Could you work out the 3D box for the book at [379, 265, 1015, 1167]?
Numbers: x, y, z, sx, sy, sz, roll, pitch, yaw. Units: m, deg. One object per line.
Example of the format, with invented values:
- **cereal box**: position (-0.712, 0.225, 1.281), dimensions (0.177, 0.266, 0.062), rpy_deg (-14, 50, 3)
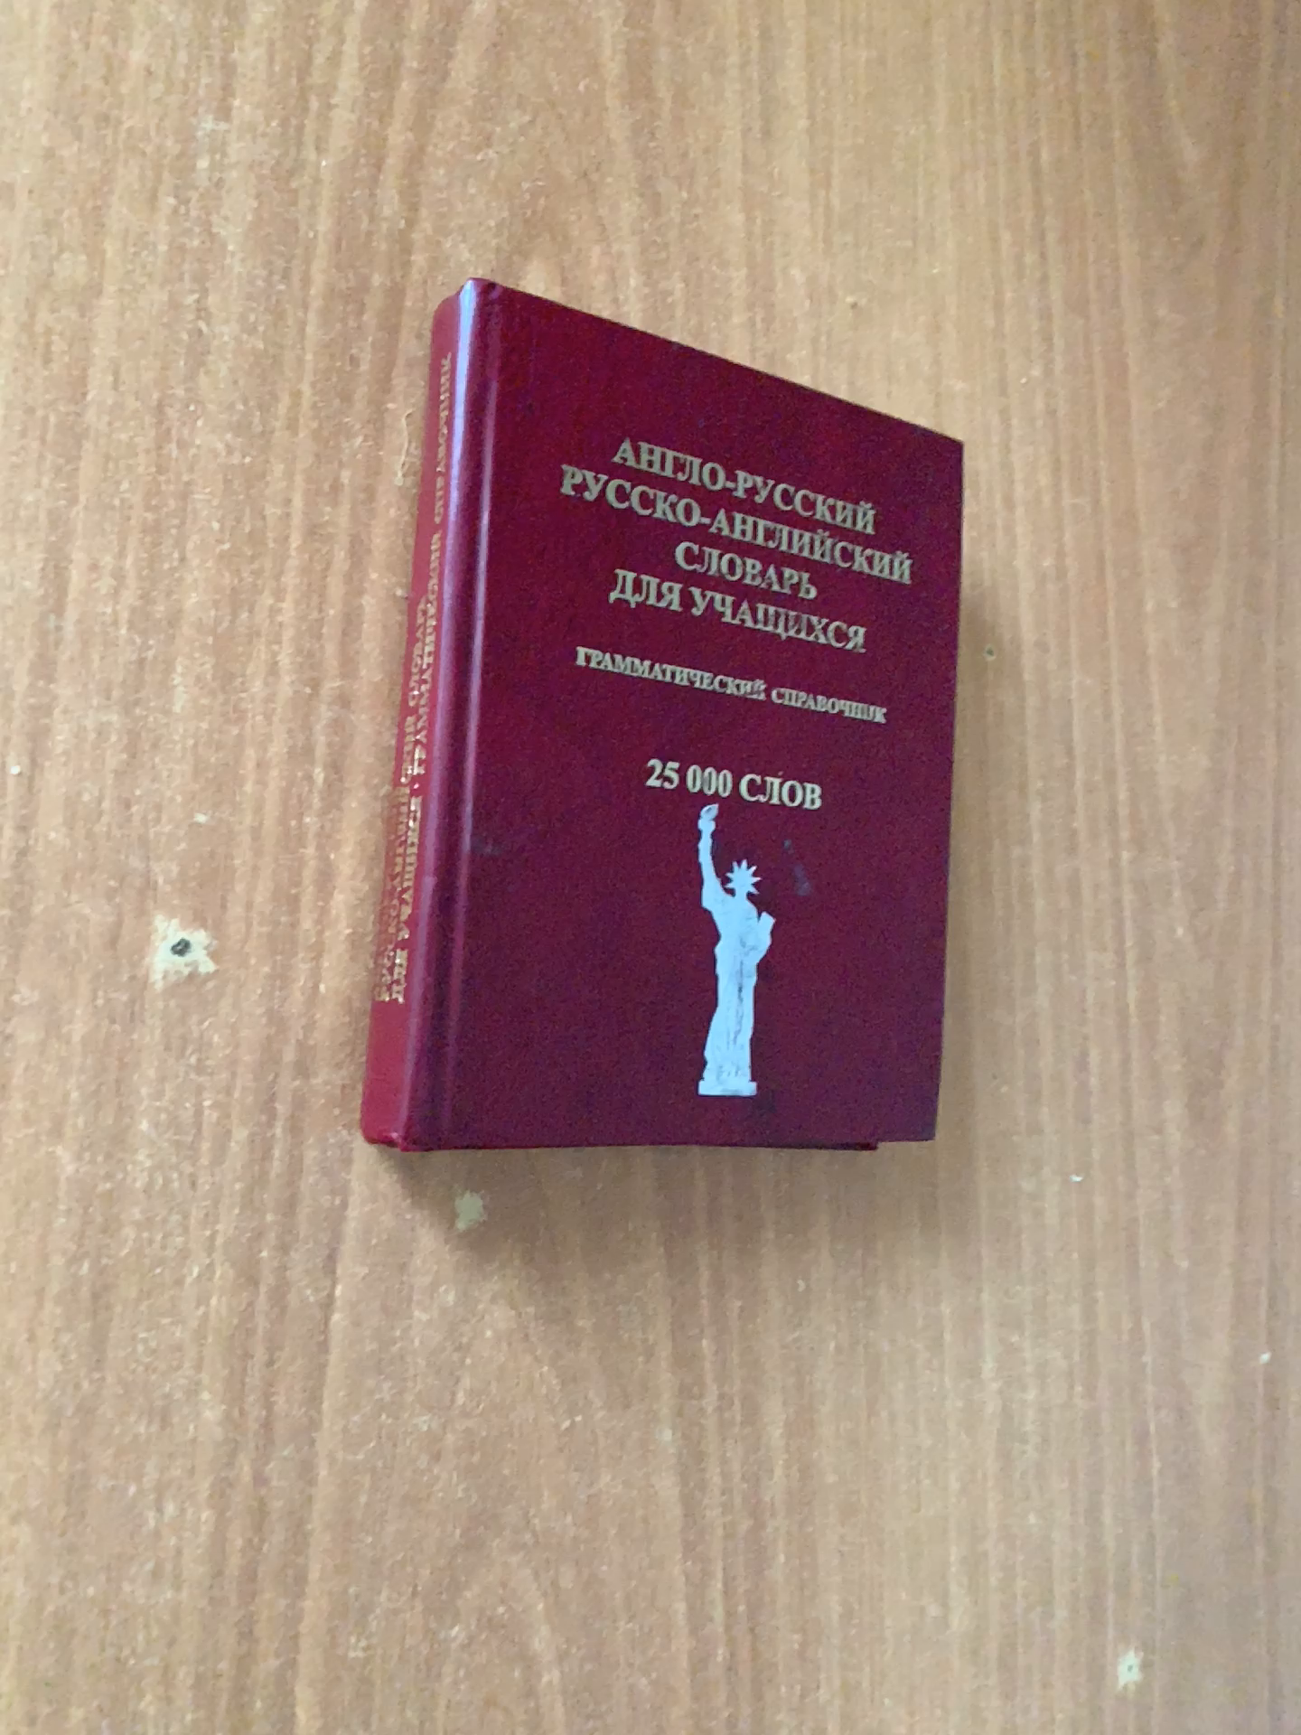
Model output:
- **book**: position (0.018, -0.023, 0.287), dimensions (0.135, 0.023, 0.166), rpy_deg (7, 84, -31)
